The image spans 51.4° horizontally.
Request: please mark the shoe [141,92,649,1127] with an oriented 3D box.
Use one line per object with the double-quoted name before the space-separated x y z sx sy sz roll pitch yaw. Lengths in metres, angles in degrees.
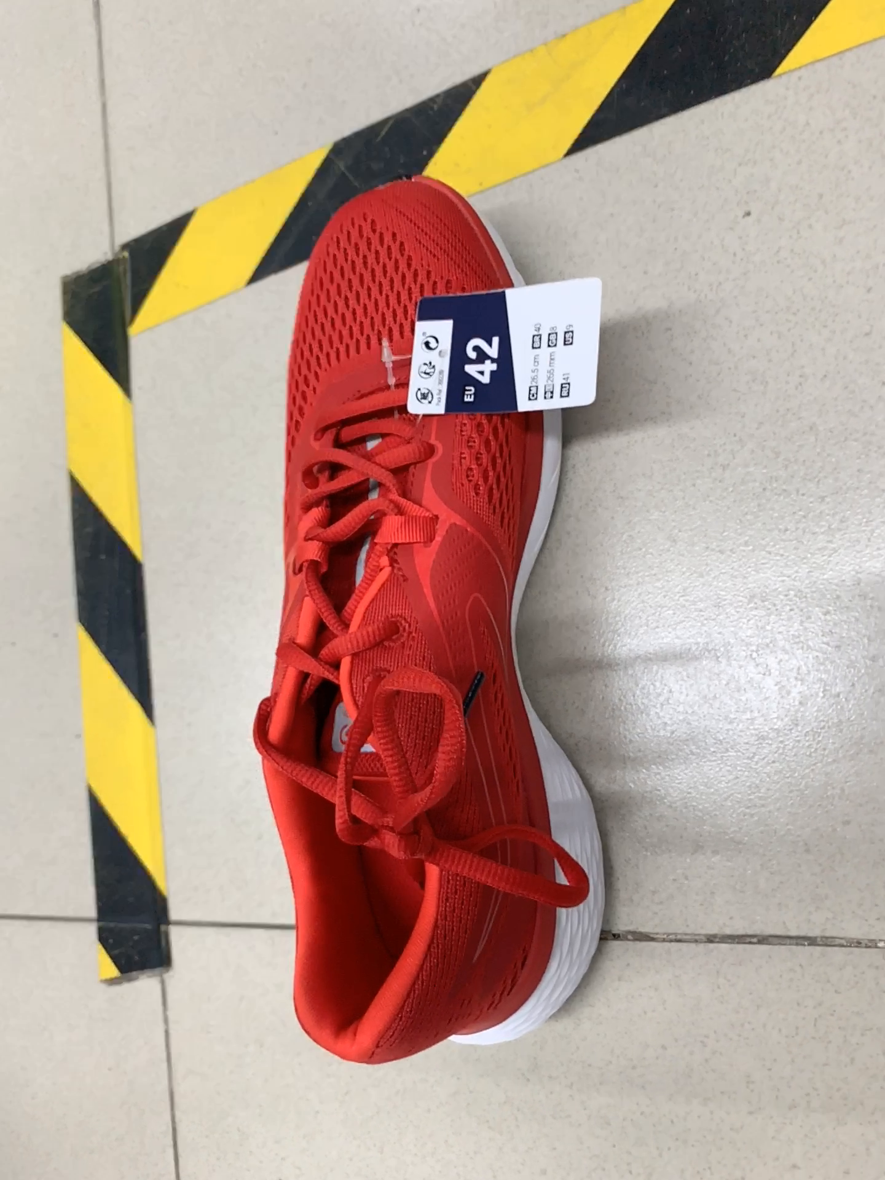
"shoe" -0.017 0.007 0.315 0.120 0.090 0.280 -9 83 28
